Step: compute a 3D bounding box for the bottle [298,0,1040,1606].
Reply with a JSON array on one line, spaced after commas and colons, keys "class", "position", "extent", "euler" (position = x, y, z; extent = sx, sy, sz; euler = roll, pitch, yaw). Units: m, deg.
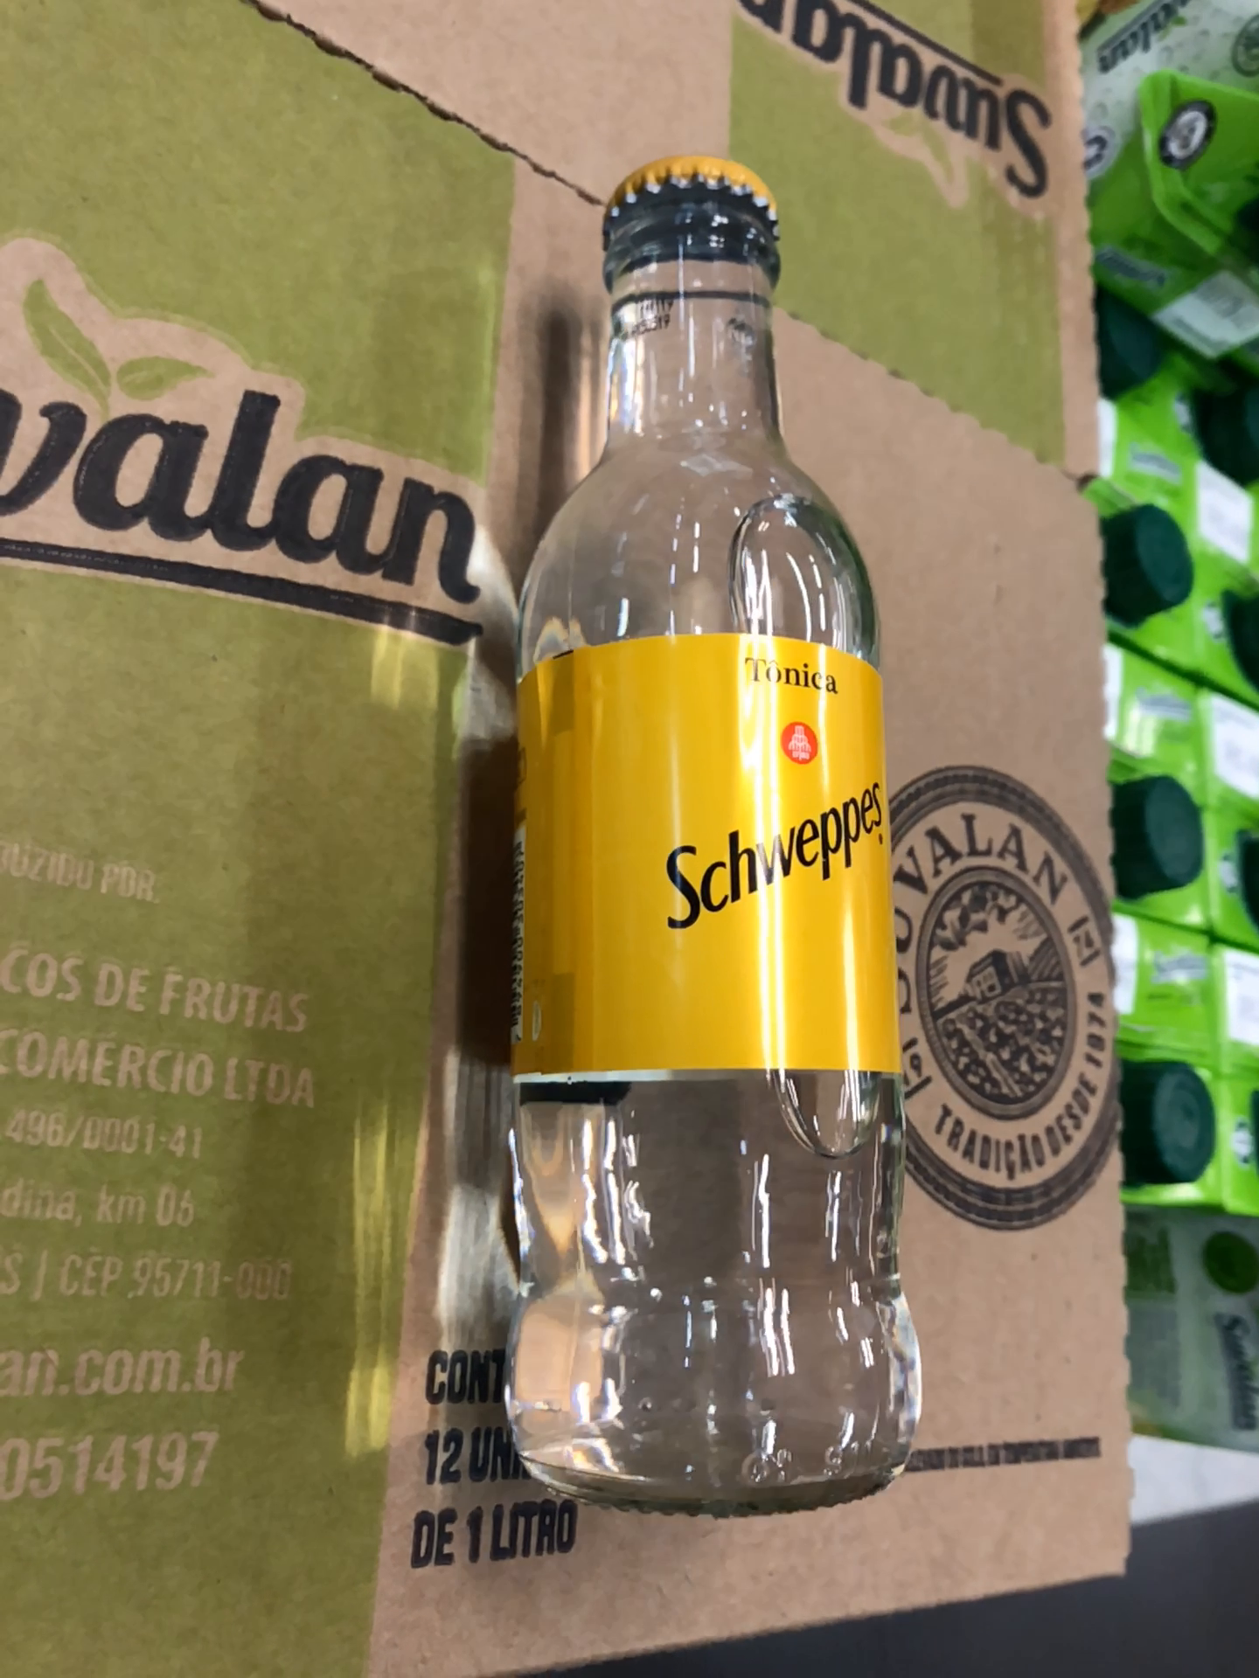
[{"class": "bottle", "position": [0.001, -0.032, 0.212], "extent": [0.070, 0.070, 0.240], "euler": [8, 75, -38]}]
